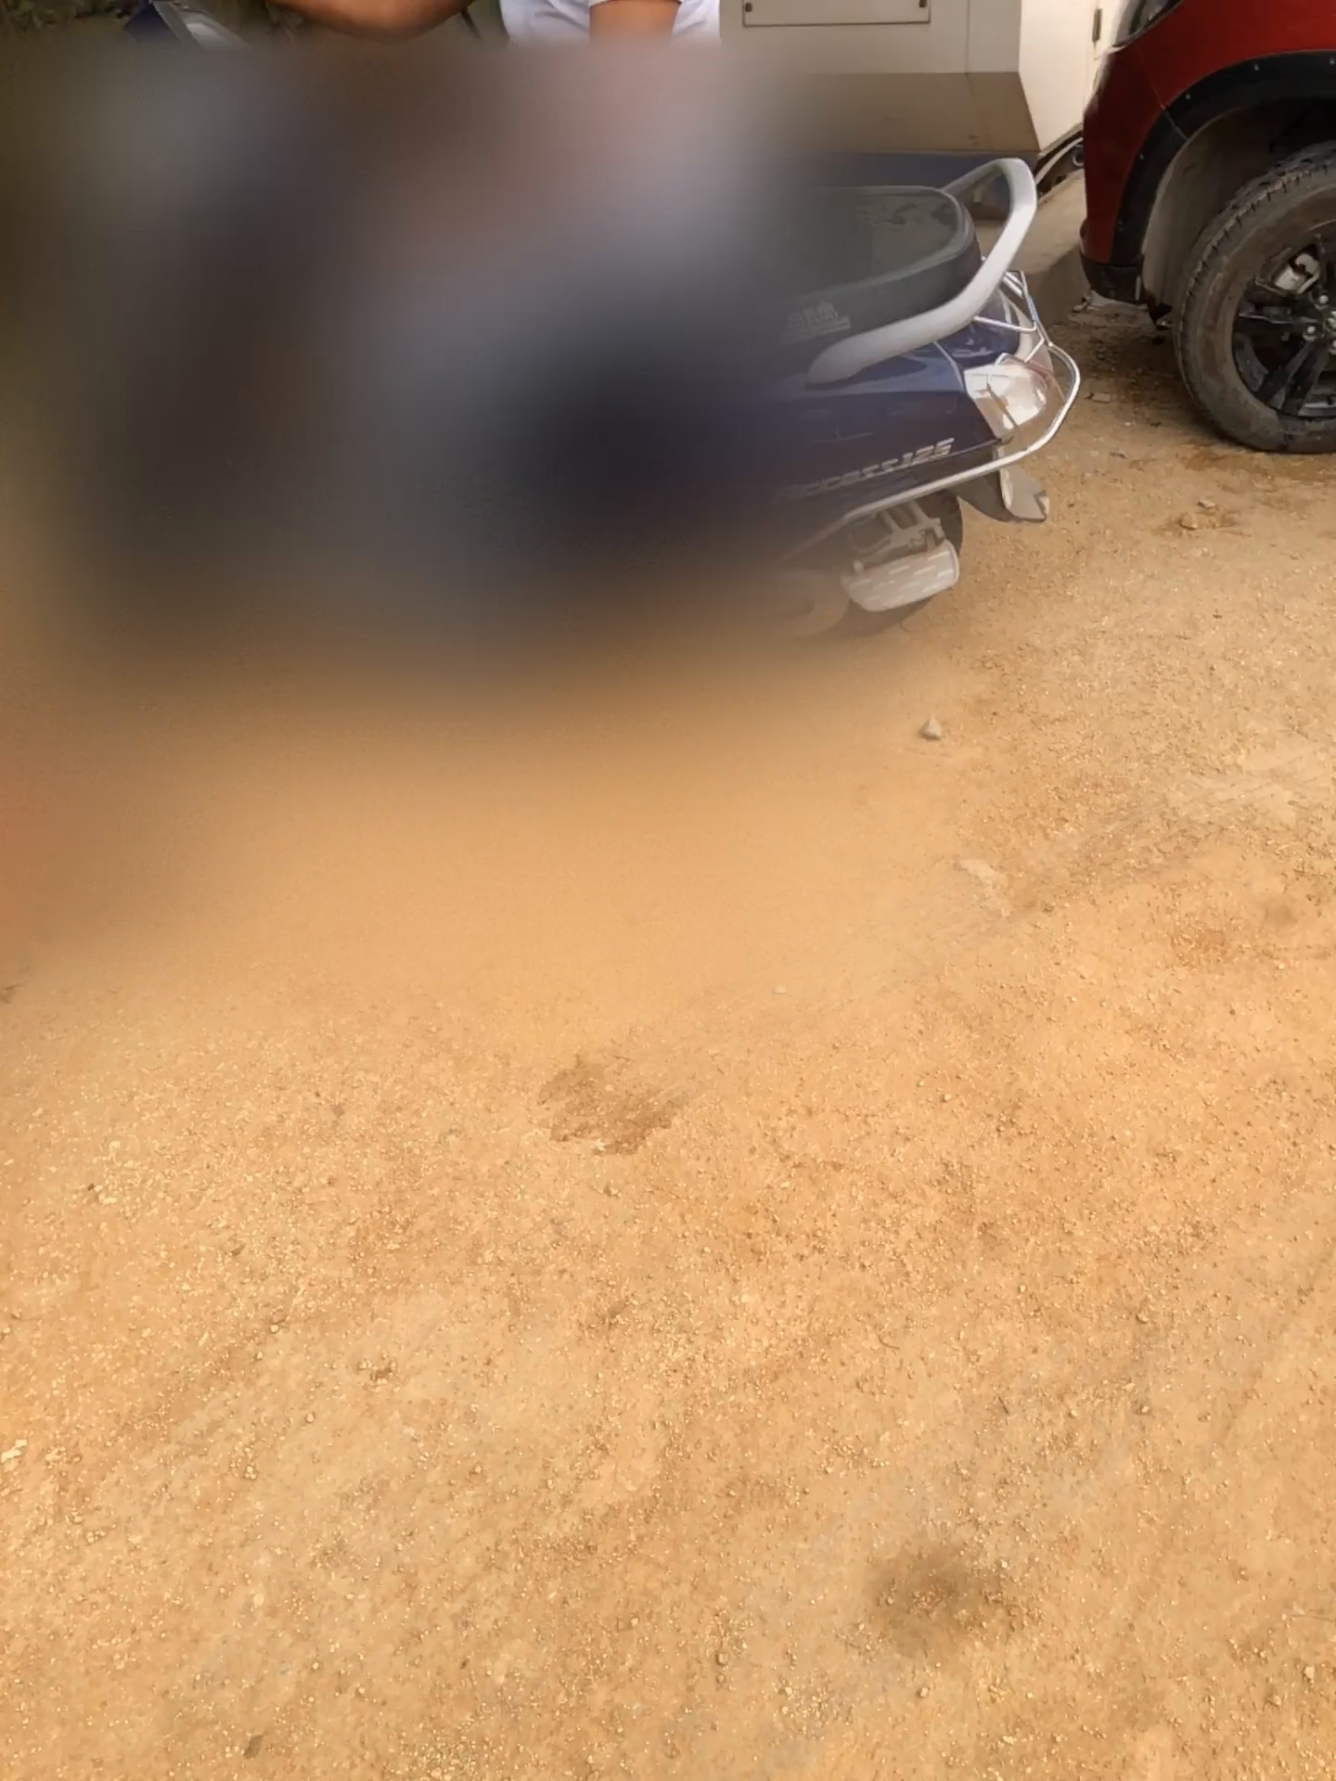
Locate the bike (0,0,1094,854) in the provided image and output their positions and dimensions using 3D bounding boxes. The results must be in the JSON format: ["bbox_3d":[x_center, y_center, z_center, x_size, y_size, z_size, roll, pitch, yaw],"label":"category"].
[{"bbox_3d":[-0.312,-0.785,2.267,1.621,1.222,0.591,-6,37,-2],"label":"bike"}]
